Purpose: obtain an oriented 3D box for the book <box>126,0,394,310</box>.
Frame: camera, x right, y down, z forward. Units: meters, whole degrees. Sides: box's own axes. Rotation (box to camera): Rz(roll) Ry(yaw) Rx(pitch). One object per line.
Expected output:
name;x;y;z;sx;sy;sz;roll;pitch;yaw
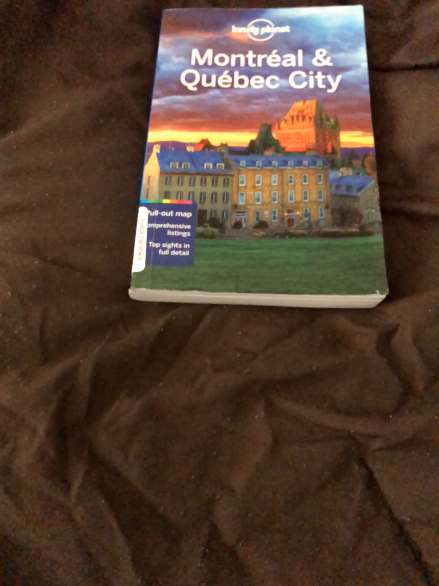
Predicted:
book;0.025;-0.092;0.300;0.137;0.024;0.205;1;69;5
